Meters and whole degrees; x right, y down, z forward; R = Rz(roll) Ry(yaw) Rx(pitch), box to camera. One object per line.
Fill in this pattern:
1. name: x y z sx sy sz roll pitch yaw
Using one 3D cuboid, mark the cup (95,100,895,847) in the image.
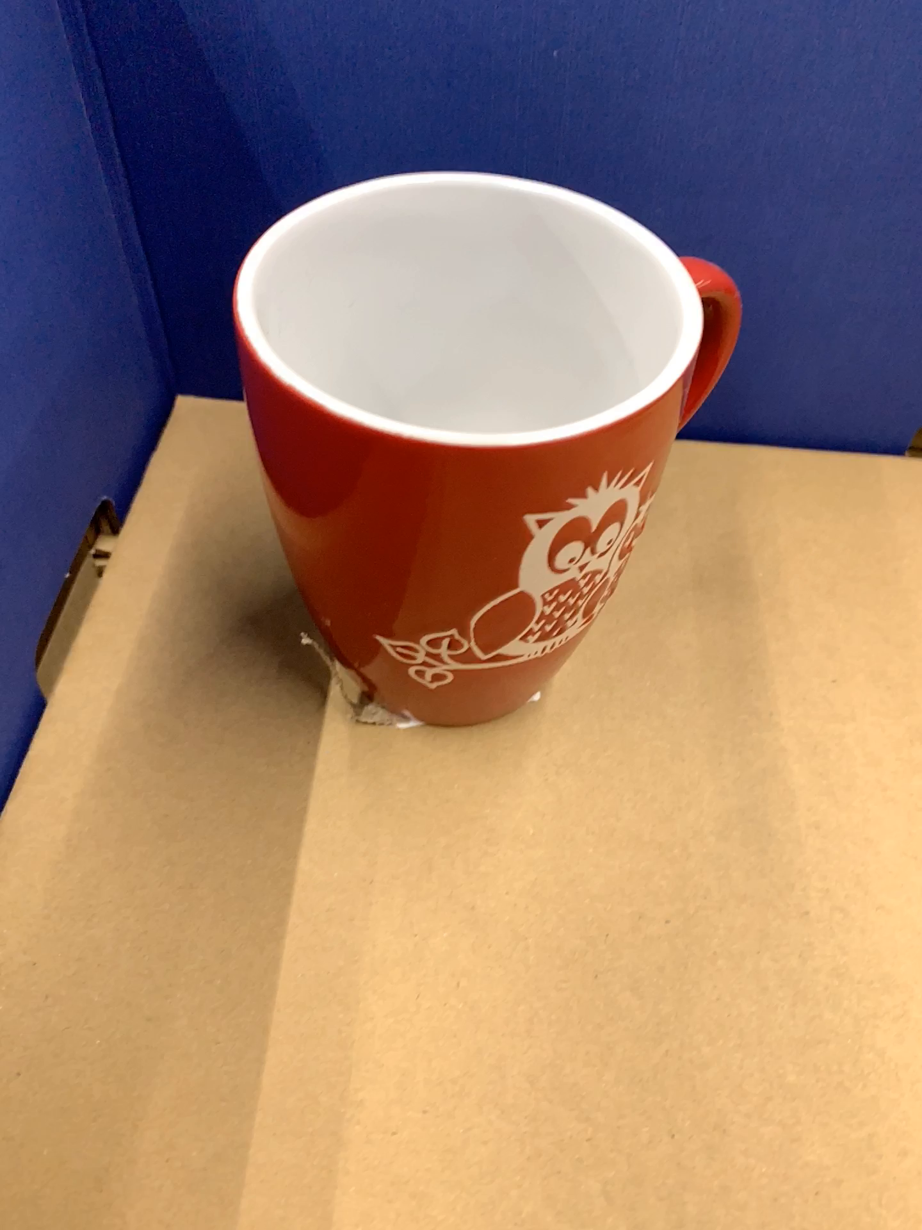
1. cup: 0.008 -0.039 0.221 0.120 0.091 0.100 -35 58 -28
